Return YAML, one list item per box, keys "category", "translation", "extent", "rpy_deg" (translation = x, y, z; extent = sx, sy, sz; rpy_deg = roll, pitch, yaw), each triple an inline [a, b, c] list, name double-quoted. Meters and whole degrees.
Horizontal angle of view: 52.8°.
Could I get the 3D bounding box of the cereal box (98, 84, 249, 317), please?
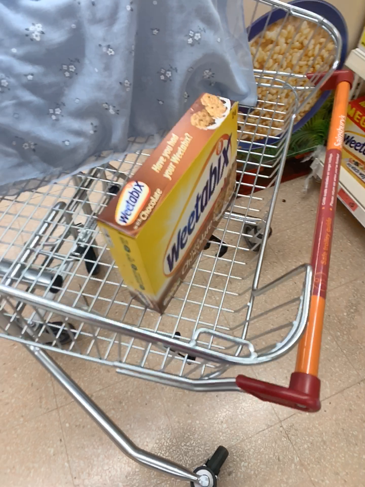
- category: "cereal box"
  translation: [0.006, -0.058, 0.500]
  extent: [0.060, 0.188, 0.252]
  rpy_deg: [22, 58, 19]
